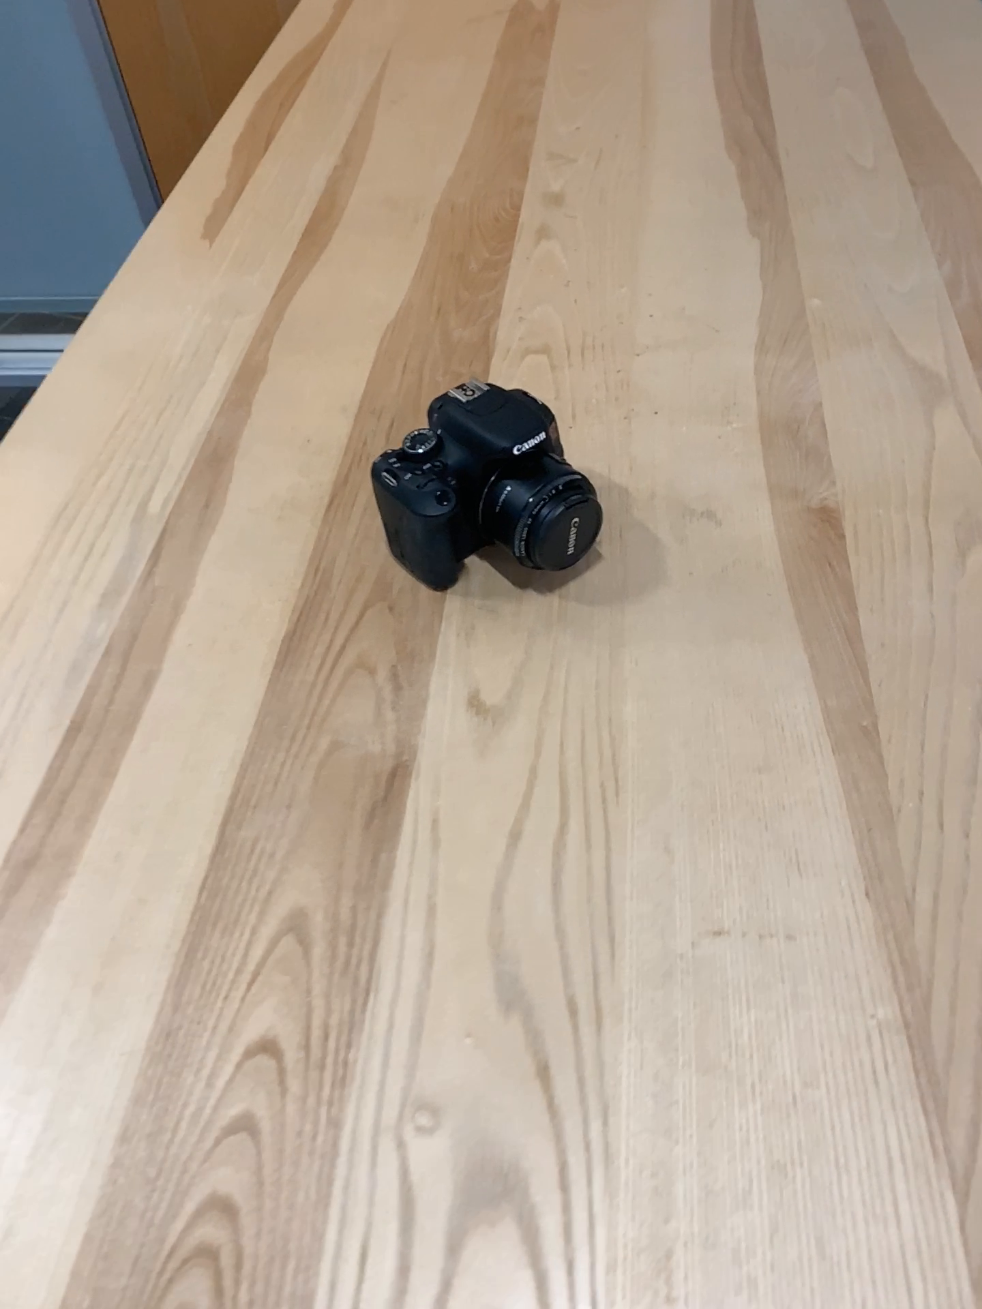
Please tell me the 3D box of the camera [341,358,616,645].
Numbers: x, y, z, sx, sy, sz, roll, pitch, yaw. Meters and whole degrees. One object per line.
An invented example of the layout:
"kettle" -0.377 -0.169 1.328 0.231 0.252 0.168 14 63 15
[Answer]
"camera" -0.005 -0.098 0.631 0.120 0.094 0.112 -34 54 -22
